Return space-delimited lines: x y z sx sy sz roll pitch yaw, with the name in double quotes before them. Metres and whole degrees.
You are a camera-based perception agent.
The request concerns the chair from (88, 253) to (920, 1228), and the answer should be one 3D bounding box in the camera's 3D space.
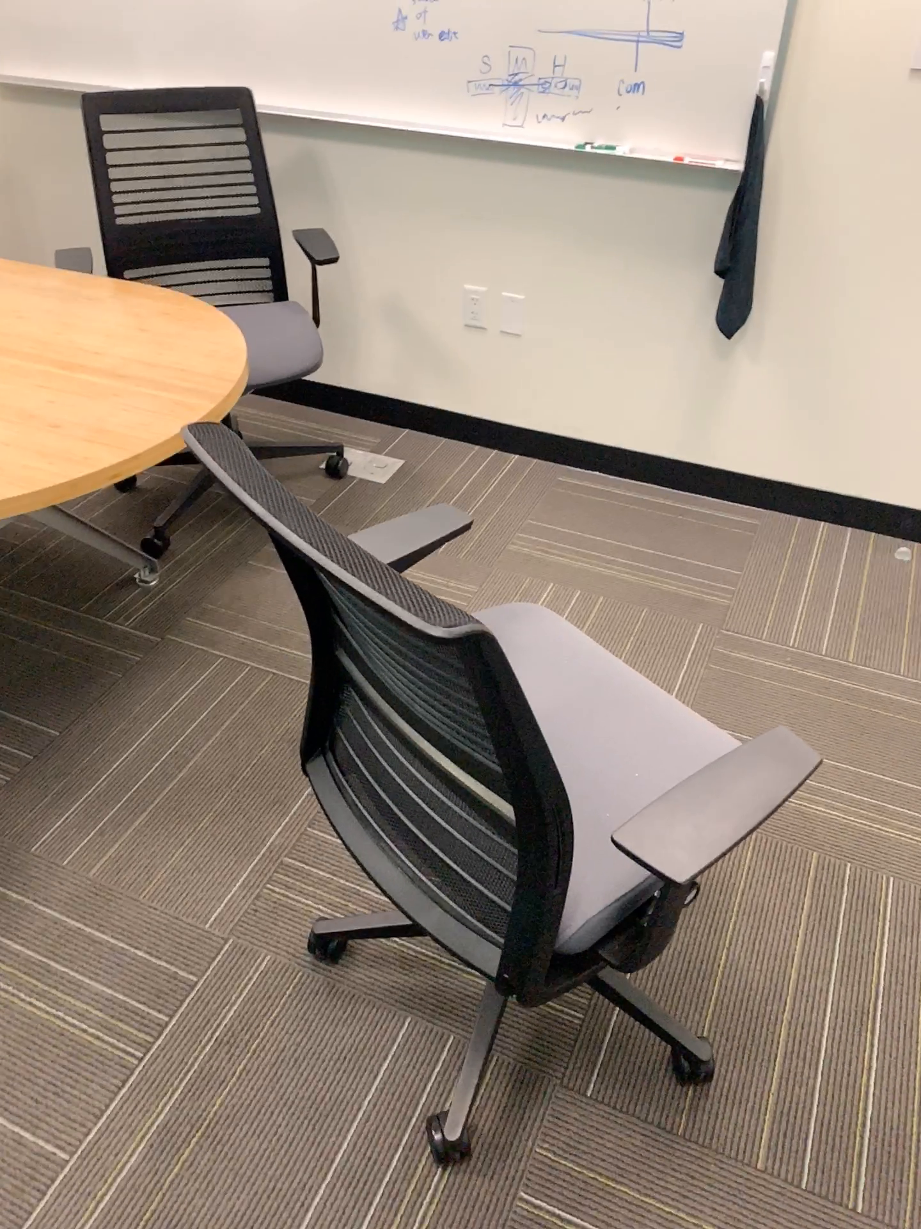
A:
"chair" 0.085 0.185 1.231 0.691 0.994 0.653 -25 45 -29
